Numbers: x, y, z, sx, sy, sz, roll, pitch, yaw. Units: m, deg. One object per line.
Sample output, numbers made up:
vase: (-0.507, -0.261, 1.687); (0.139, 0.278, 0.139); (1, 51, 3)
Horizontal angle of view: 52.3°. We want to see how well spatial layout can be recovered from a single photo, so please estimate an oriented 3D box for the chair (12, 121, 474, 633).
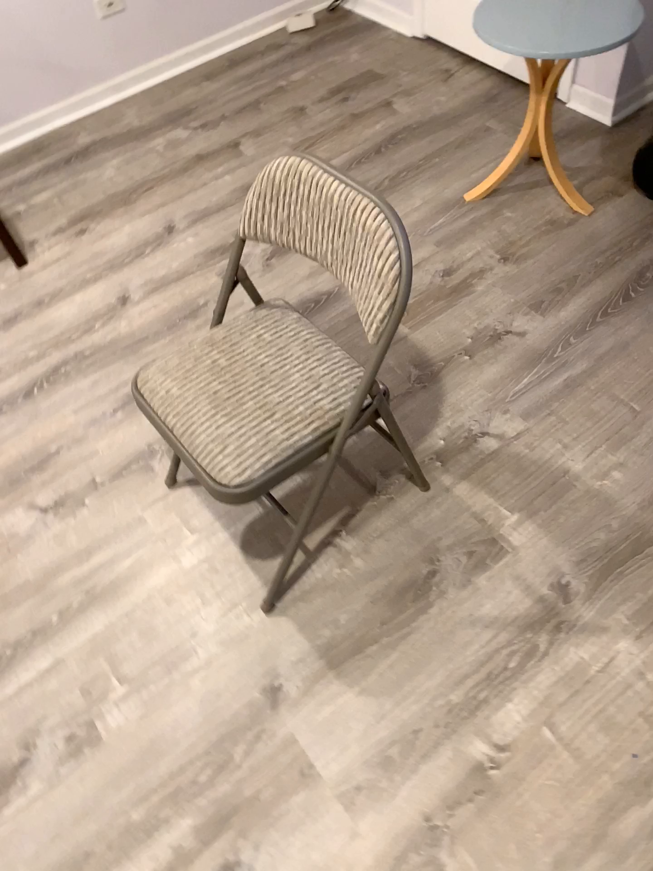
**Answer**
chair: (-0.109, -0.097, 1.364); (0.586, 0.709, 0.503); (-35, 56, -17)
